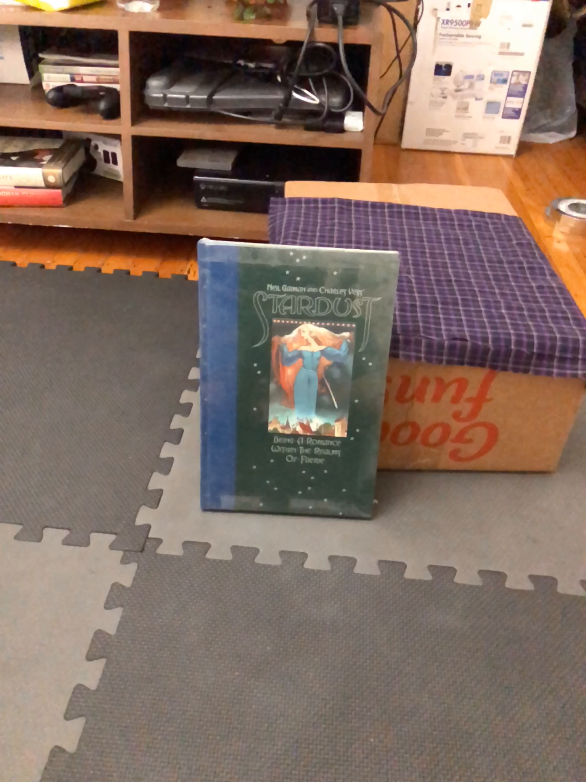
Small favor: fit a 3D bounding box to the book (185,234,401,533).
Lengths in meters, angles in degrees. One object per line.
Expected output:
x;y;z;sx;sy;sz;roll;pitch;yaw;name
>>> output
-0.005;0.003;0.694;0.210;0.329;0.020;2;22;1;book
